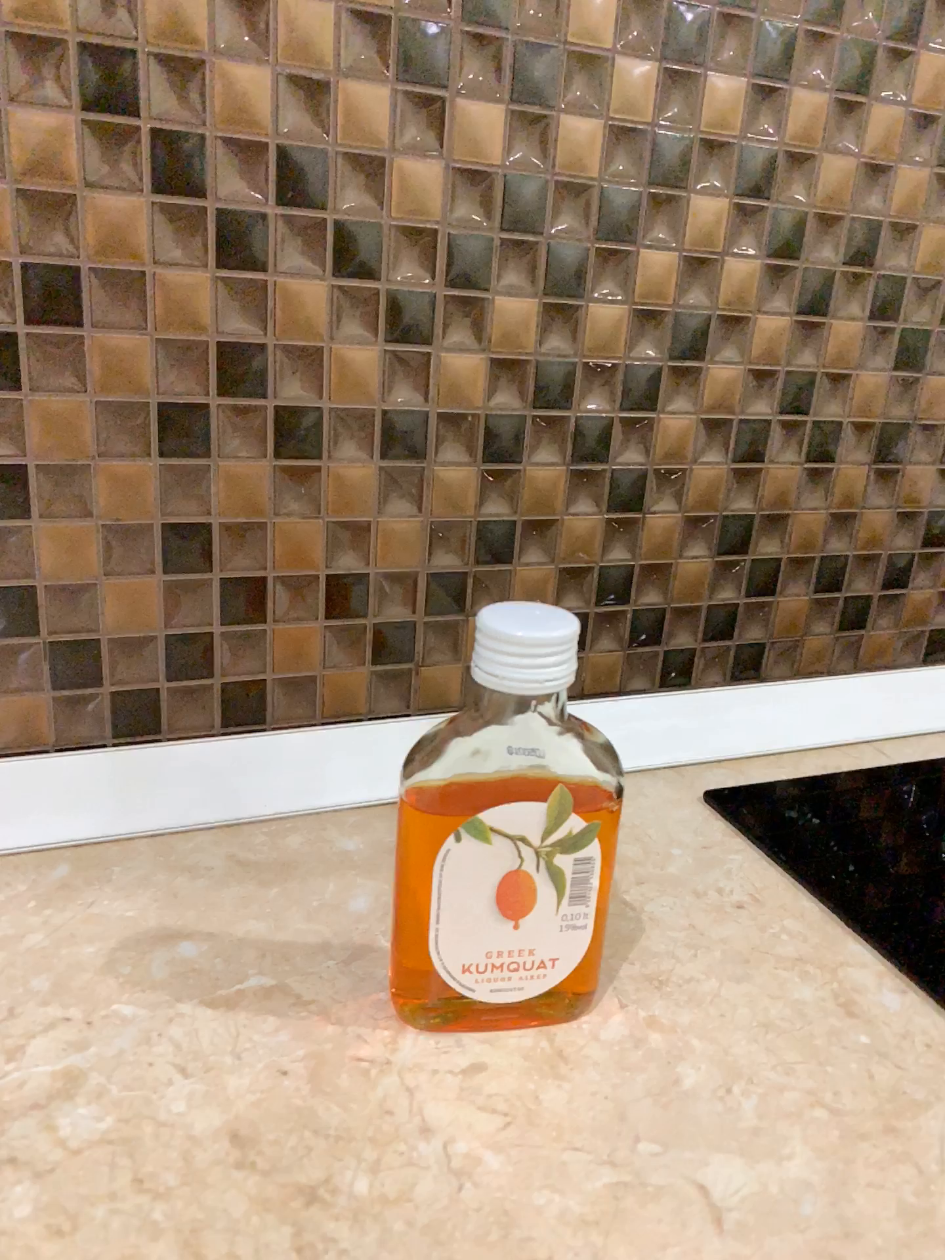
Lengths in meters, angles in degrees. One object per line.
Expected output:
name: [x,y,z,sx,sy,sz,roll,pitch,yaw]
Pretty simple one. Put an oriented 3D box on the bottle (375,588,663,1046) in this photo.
bottle: [0.009,0.058,0.301,0.070,0.133,0.040,1,19,-10]
